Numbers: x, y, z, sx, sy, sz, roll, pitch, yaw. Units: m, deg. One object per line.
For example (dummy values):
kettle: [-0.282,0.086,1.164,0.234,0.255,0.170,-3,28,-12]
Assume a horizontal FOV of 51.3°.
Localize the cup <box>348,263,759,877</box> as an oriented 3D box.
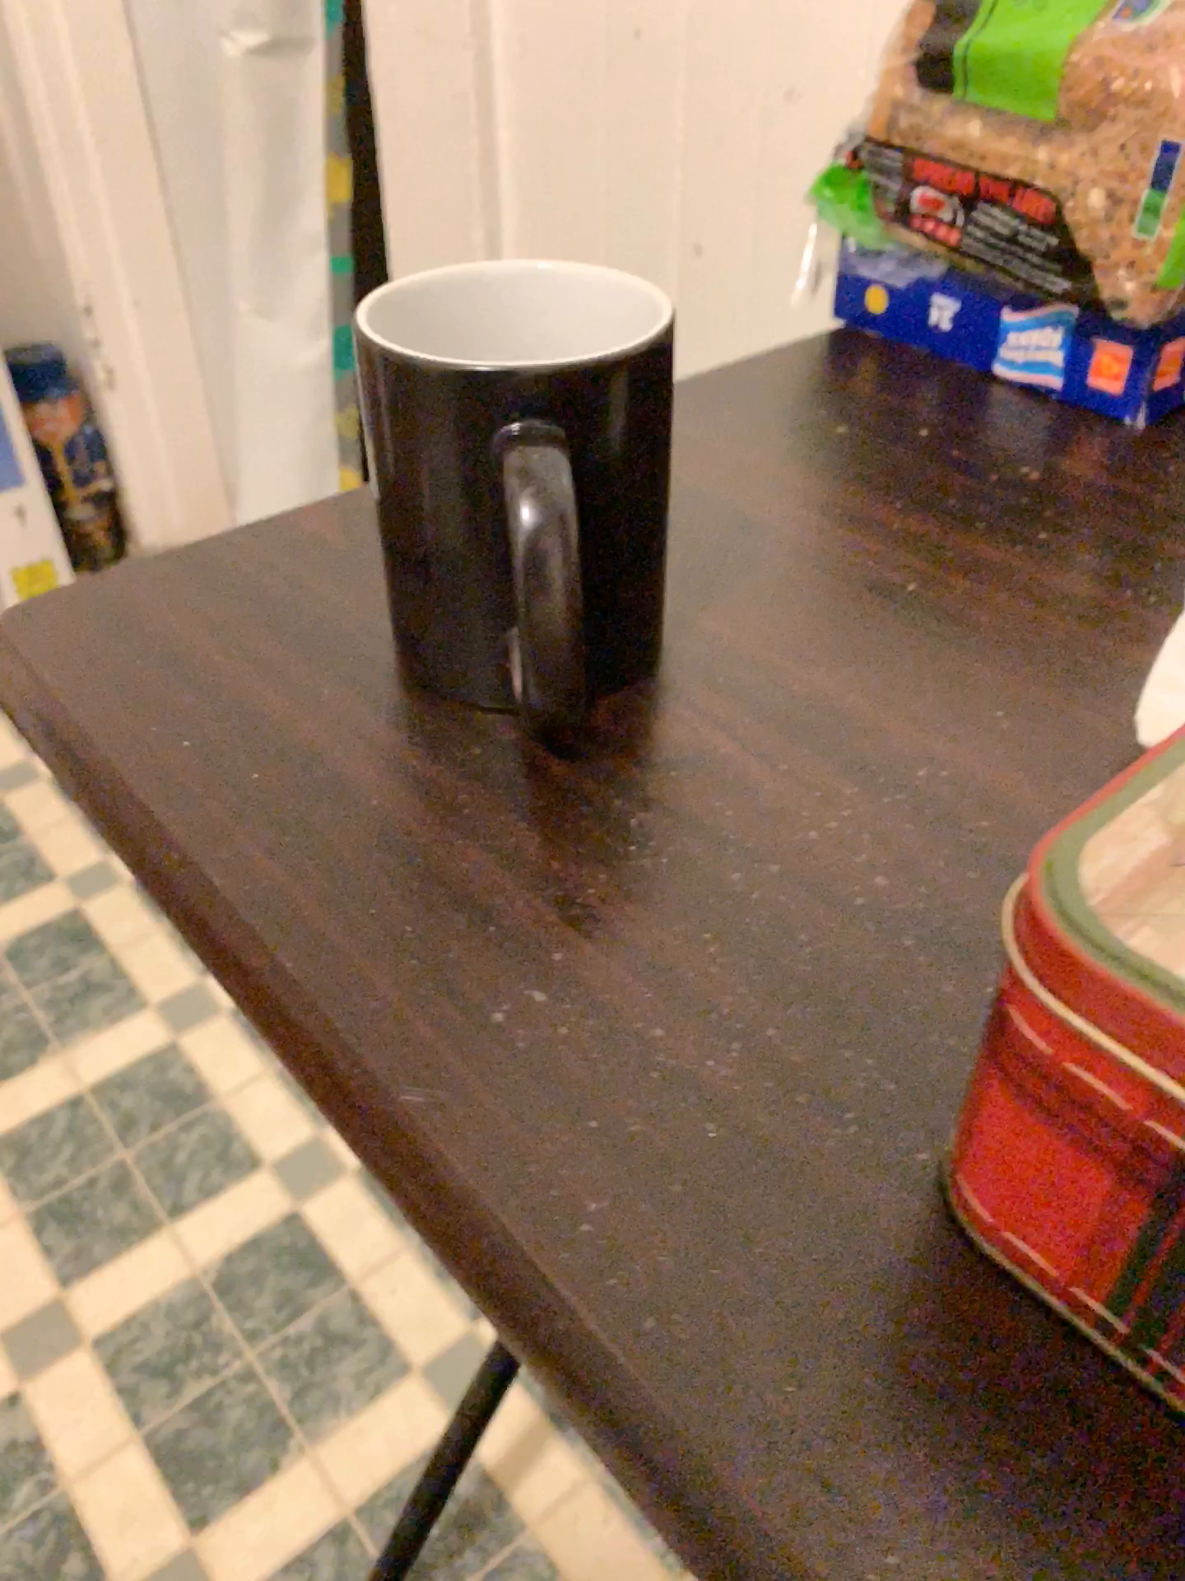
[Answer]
cup: [-0.016,-0.063,0.319,0.080,0.099,0.131,-6,40,-6]
